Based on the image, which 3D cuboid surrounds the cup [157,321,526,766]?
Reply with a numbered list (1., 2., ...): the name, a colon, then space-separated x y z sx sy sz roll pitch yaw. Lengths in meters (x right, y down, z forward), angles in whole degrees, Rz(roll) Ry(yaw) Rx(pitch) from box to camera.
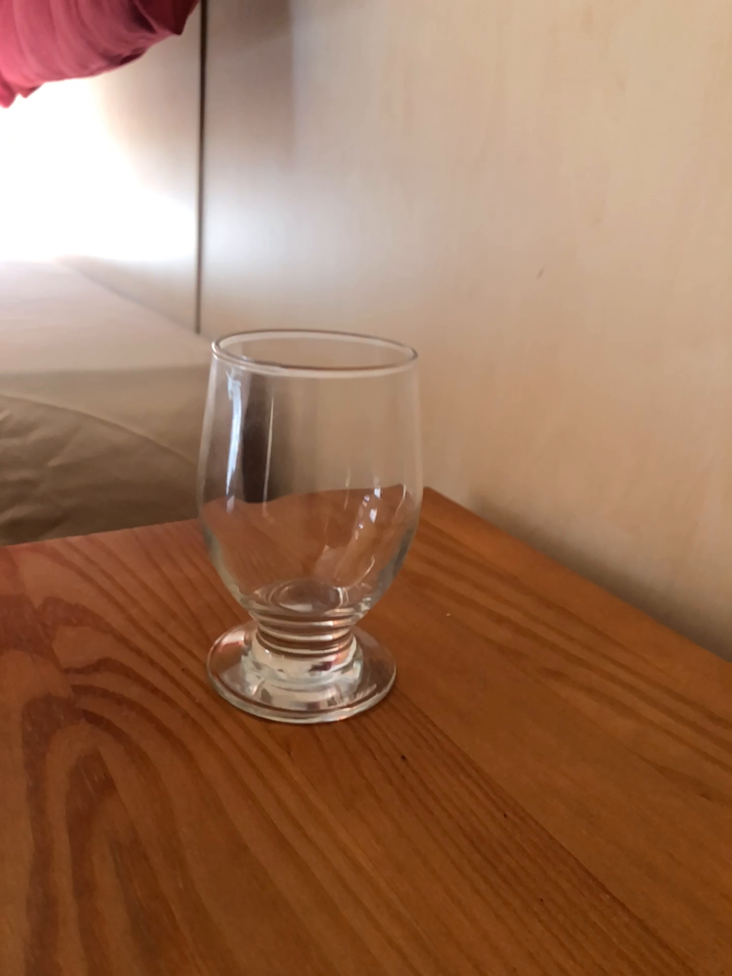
1. cup: -0.010 0.009 0.266 0.078 0.107 0.082 5 20 -2
